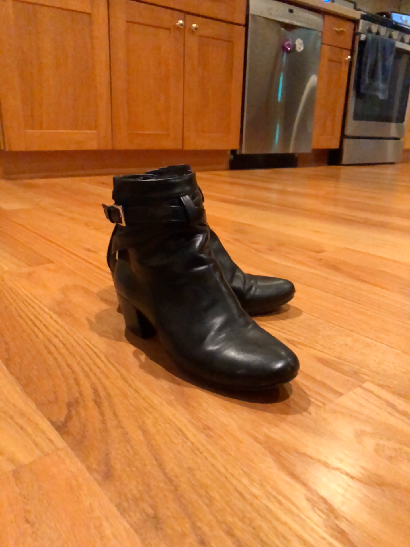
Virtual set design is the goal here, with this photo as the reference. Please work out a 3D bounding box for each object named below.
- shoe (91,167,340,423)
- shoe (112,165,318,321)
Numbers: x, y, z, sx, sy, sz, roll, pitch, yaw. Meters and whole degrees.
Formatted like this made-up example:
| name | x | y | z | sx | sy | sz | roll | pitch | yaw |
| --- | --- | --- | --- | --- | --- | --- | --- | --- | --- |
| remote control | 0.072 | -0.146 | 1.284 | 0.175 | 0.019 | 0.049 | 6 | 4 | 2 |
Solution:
| name | x | y | z | sx | sy | sz | roll | pitch | yaw |
| --- | --- | --- | --- | --- | --- | --- | --- | --- | --- |
| shoe | -0.007 | -0.004 | 0.428 | 0.090 | 0.172 | 0.227 | -13 | 22 | -41 |
| shoe | 0.008 | -0.041 | 0.563 | 0.226 | 0.172 | 0.090 | 1 | 16 | -1 |
